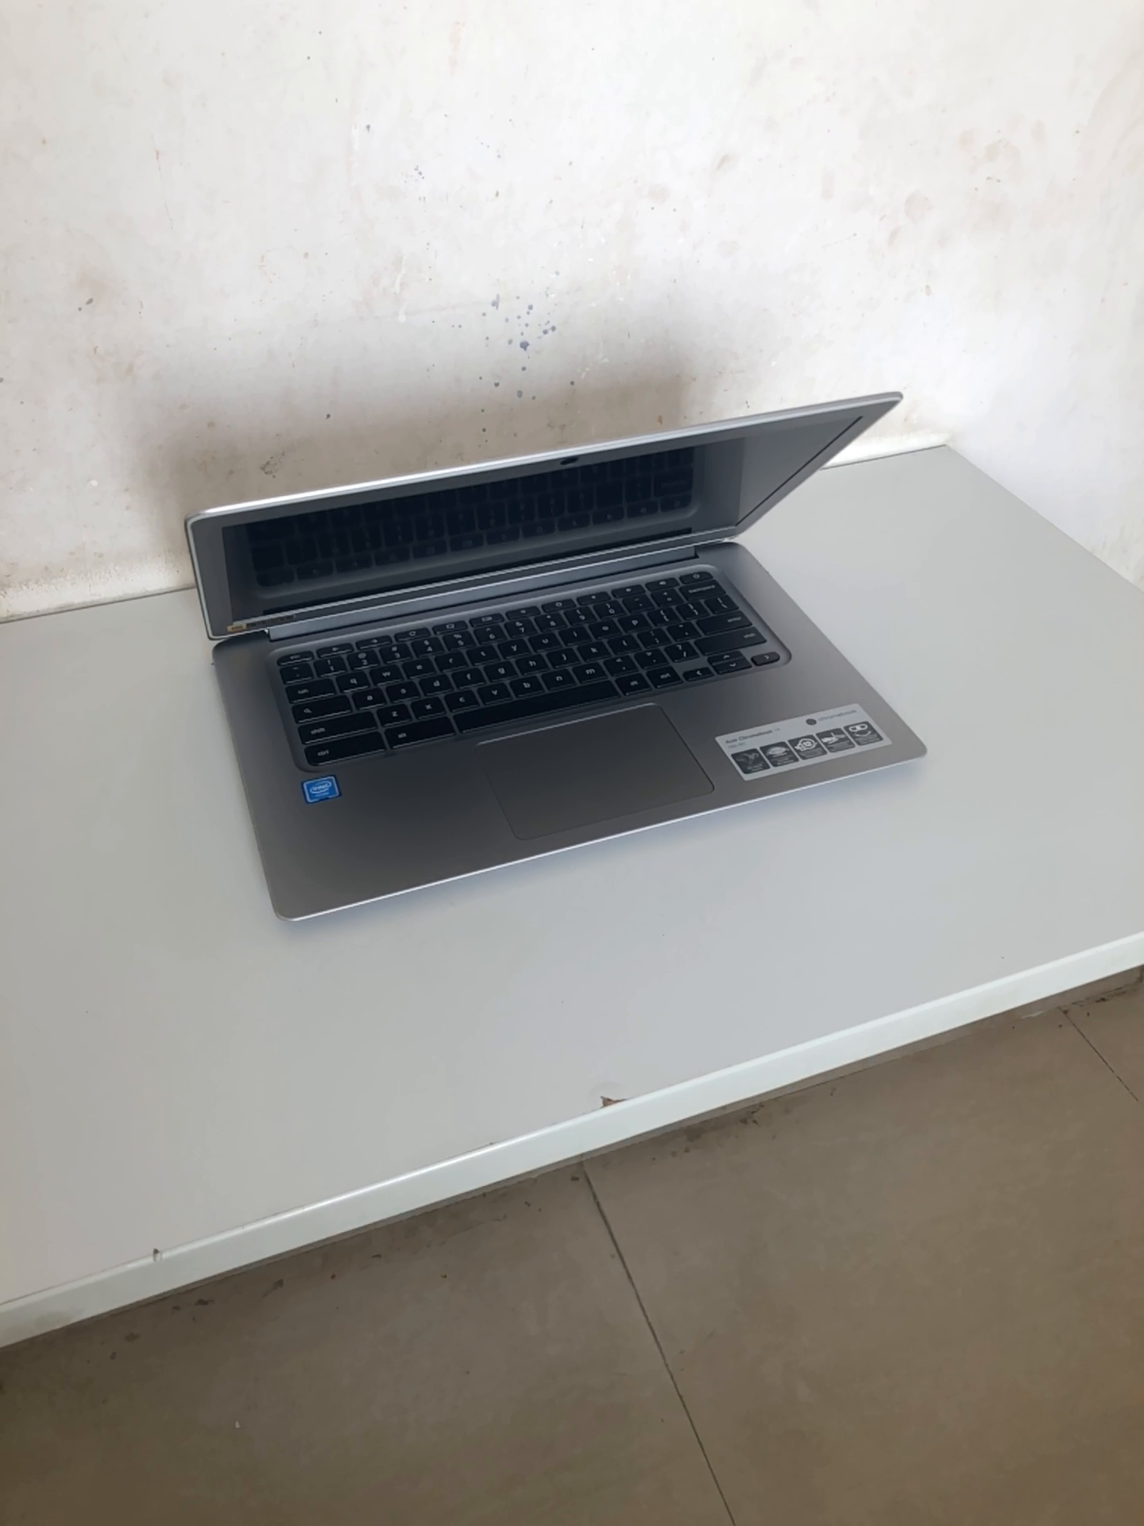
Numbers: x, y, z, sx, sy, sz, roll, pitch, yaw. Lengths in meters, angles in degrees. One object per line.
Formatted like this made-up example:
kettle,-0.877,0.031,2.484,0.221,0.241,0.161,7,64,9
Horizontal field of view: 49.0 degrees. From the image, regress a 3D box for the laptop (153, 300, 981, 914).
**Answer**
laptop,-0.014,-0.096,0.627,0.326,0.155,0.222,-13,41,-15
